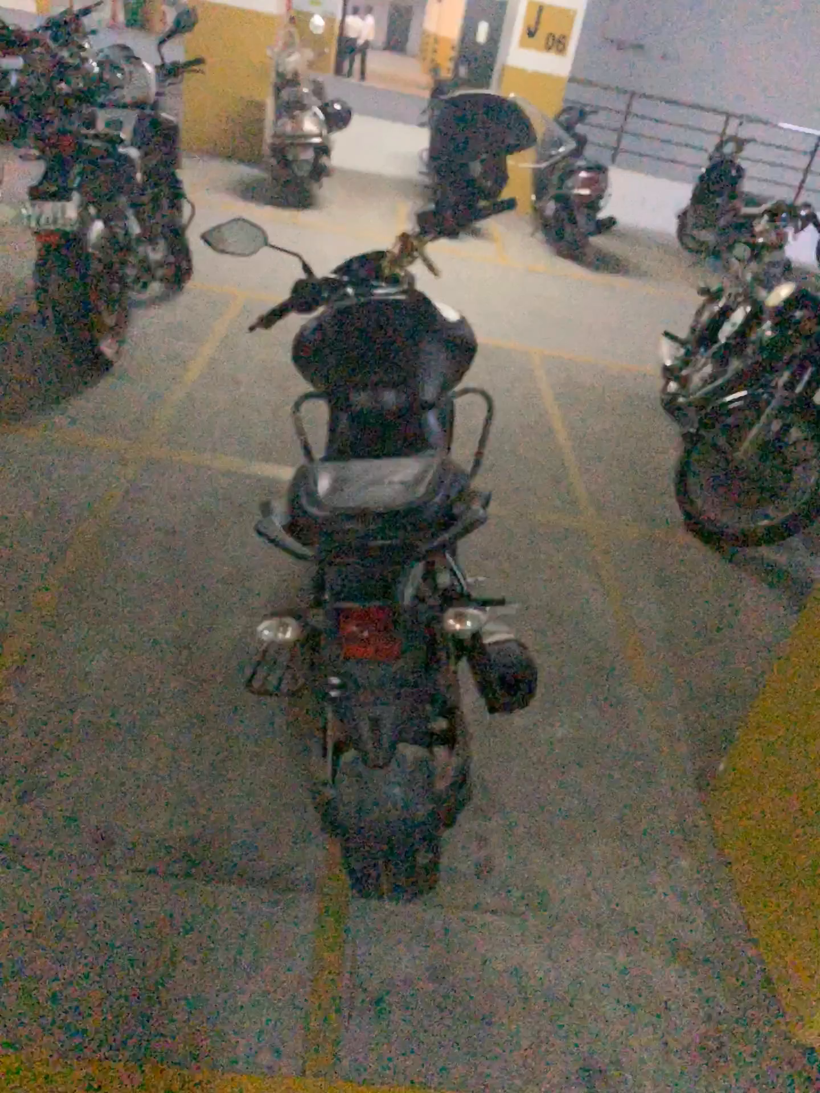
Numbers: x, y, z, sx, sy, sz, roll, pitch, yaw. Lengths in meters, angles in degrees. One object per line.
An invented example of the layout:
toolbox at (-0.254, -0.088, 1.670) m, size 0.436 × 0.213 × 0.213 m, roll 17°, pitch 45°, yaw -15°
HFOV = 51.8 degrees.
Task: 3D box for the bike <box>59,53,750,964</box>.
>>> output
bike at (-0.212, -0.273, 1.907) m, size 0.786 × 1.096 × 1.744 m, roll 5°, pitch 35°, yaw -13°
